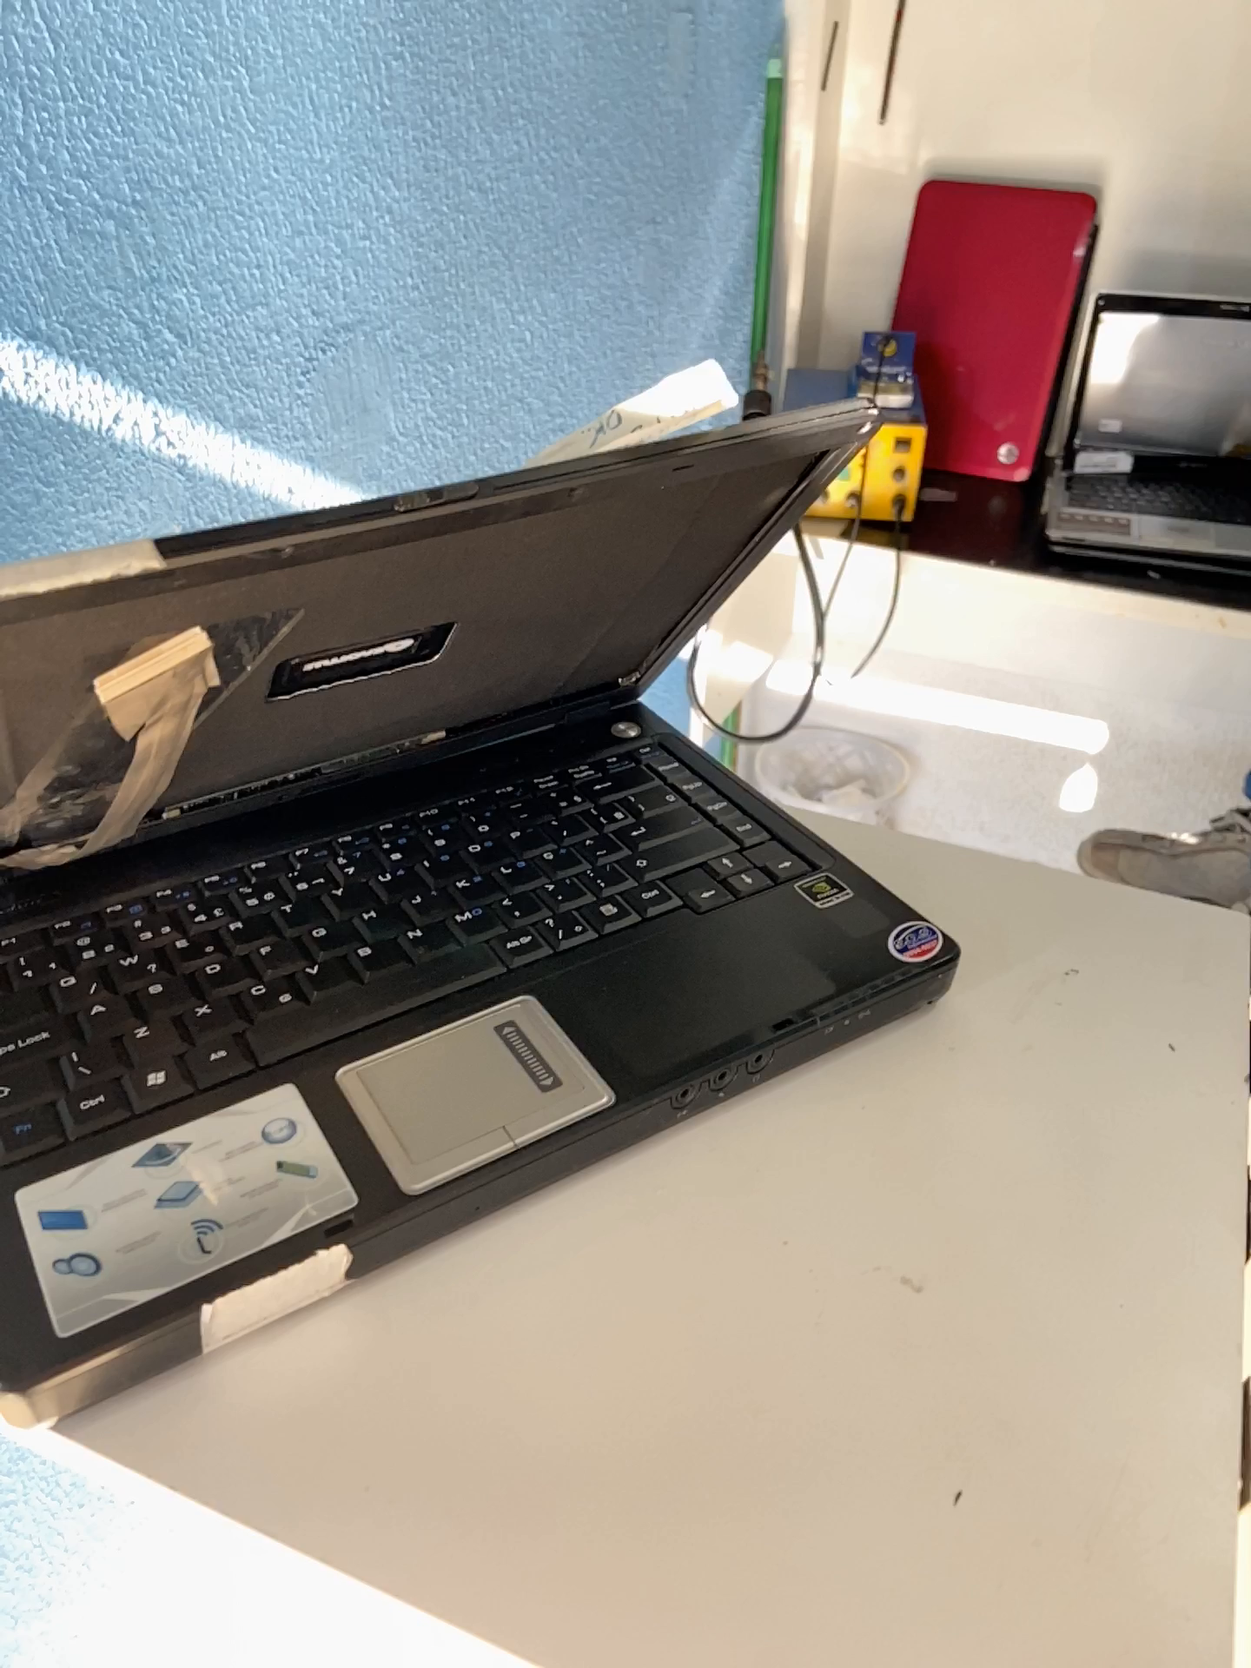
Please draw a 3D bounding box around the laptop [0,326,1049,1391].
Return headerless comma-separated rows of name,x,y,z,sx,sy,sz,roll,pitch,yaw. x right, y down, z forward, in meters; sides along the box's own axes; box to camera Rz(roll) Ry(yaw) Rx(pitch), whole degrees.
laptop,-0.075,-0.036,0.426,0.329,0.174,0.224,-19,38,-27
